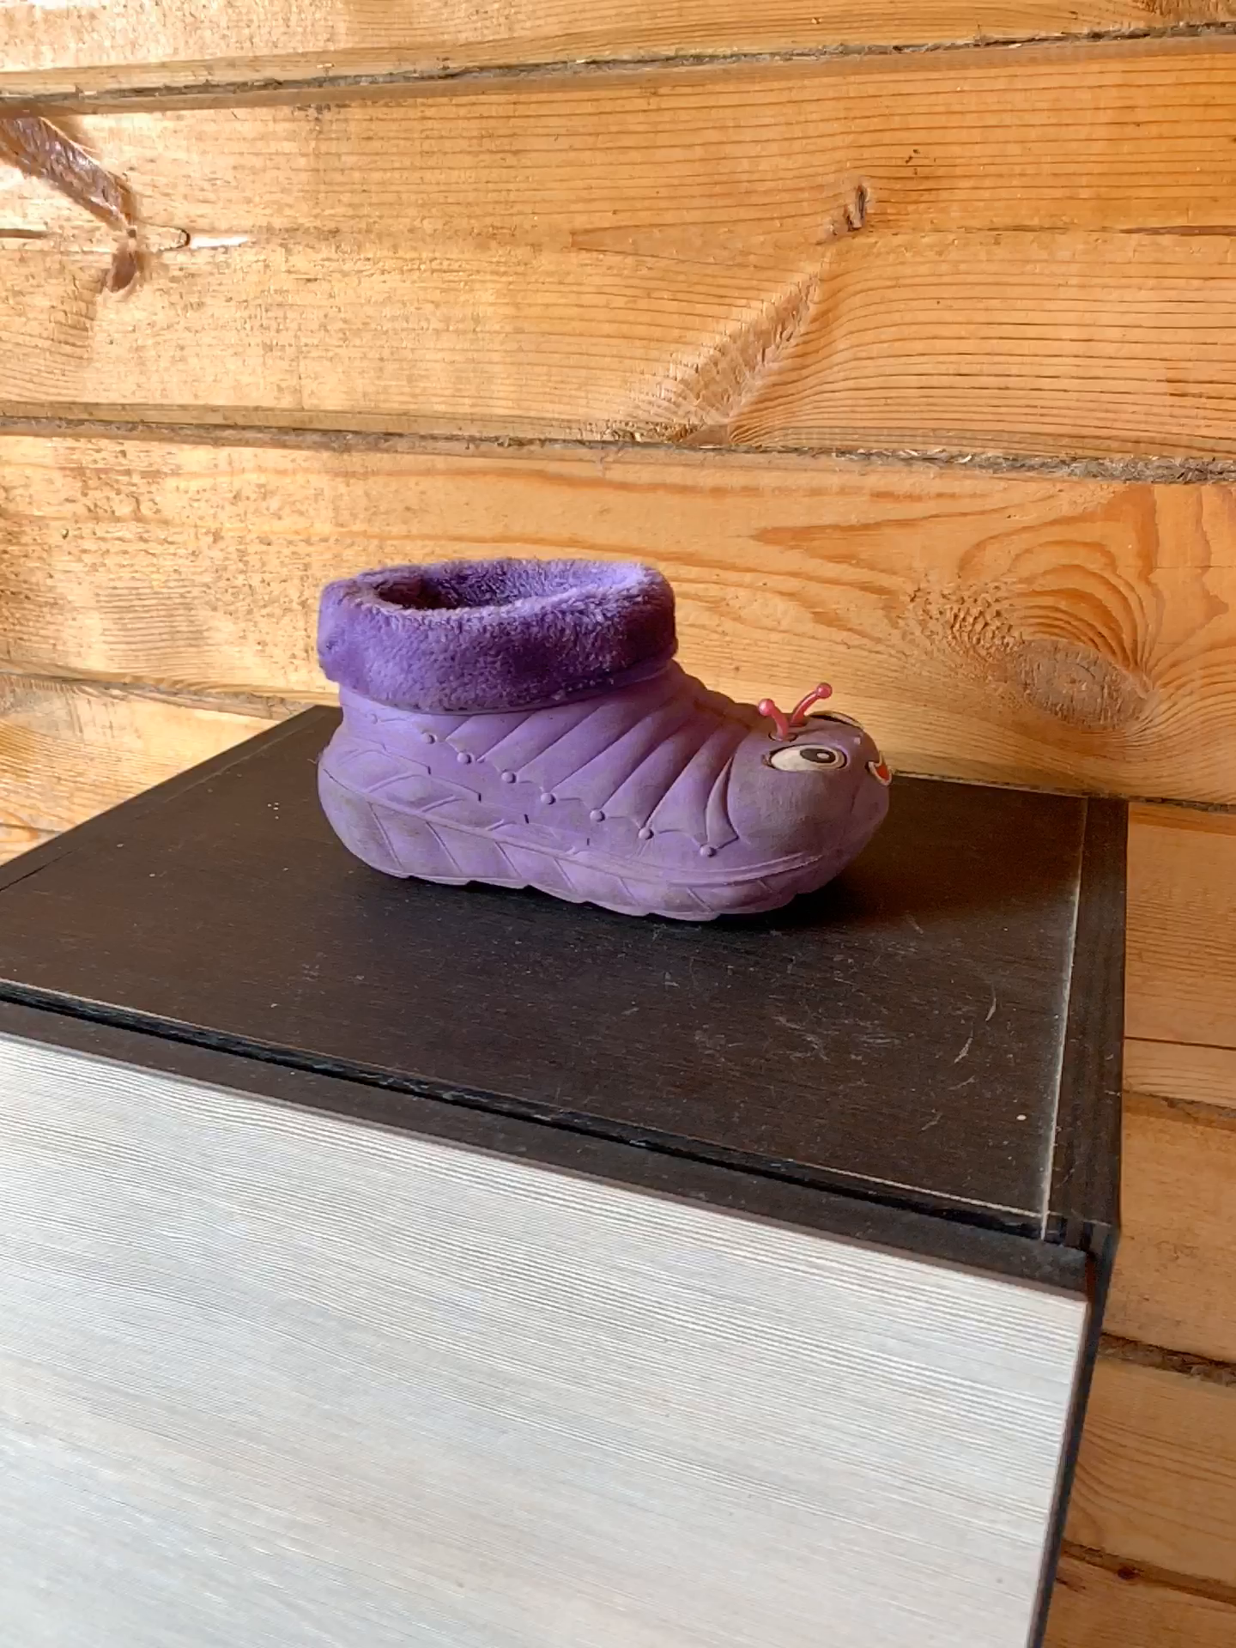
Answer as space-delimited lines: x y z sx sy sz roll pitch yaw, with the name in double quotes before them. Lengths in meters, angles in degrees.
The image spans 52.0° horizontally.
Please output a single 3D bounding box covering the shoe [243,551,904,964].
"shoe" -0.012 -0.031 0.437 0.200 0.099 0.091 7 22 16
